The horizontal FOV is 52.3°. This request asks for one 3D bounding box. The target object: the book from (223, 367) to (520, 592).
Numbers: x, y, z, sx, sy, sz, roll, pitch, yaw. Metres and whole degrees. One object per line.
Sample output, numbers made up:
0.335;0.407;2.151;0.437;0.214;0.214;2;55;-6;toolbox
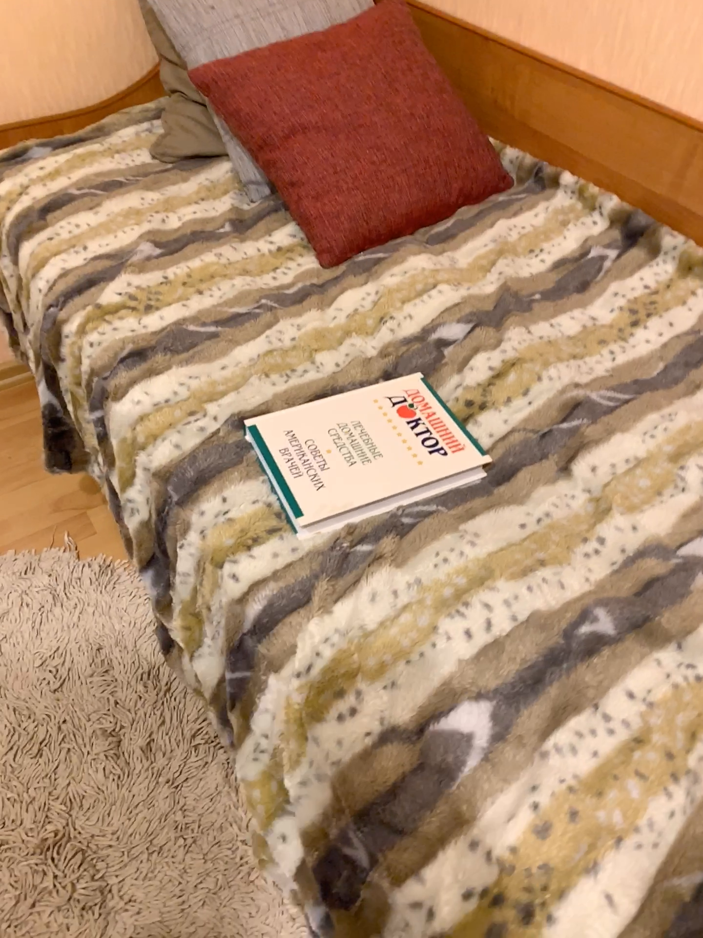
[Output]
0.015;-0.002;0.735;0.240;0.040;0.191;-19;50;-17;book
